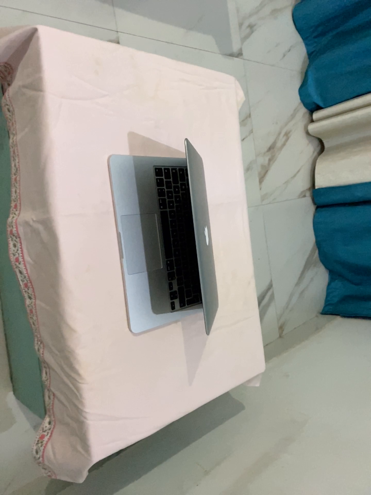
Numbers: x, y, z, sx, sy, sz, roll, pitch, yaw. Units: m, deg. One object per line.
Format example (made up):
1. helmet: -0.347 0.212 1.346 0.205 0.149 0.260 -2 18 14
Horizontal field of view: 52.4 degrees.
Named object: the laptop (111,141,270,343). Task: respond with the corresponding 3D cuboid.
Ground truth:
1. laptop: 0.015 -0.016 0.668 0.209 0.138 0.296 -10 95 -40
